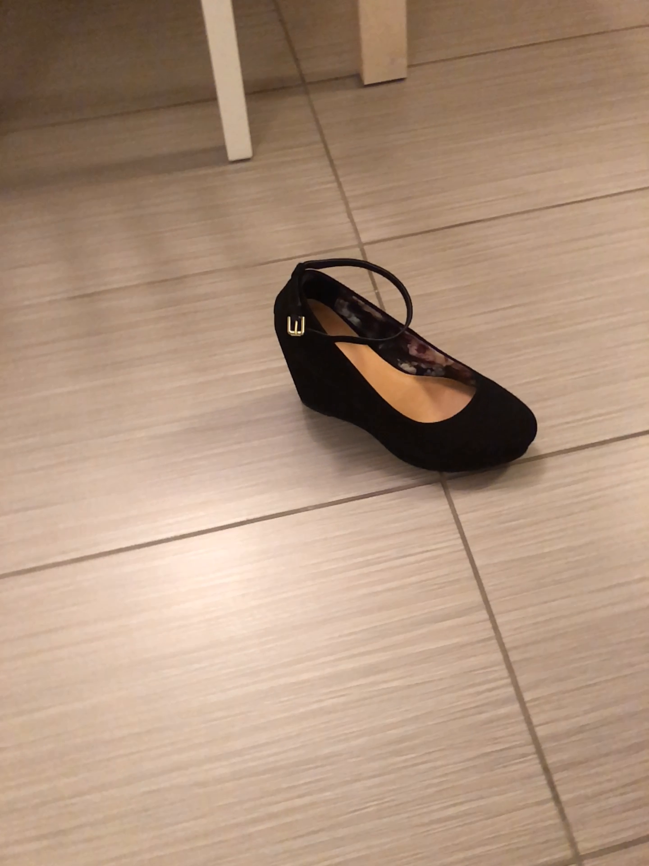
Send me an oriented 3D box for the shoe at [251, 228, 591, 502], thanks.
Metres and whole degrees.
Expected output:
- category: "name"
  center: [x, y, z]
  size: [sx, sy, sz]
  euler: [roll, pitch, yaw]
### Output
- category: "shoe"
  center: [0.075, -0.056, 0.607]
  size: [0.240, 0.139, 0.100]
  euler: [20, 62, 14]
